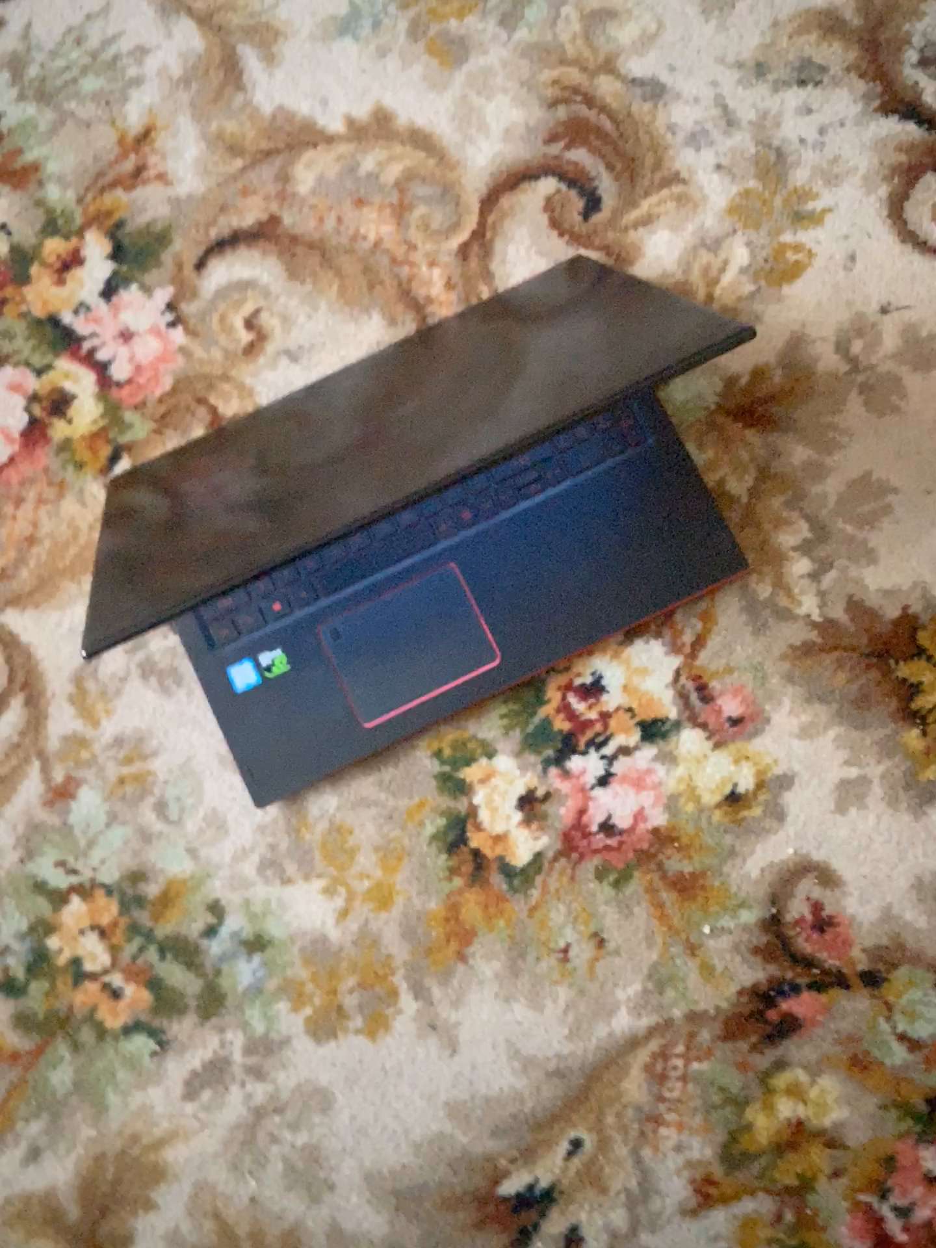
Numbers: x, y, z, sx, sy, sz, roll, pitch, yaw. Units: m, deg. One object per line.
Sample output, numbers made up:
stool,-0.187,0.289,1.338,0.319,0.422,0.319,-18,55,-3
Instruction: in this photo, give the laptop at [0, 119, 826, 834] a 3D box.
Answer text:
laptop,-0.028,-0.068,0.565,0.356,0.173,0.224,-26,84,-1
